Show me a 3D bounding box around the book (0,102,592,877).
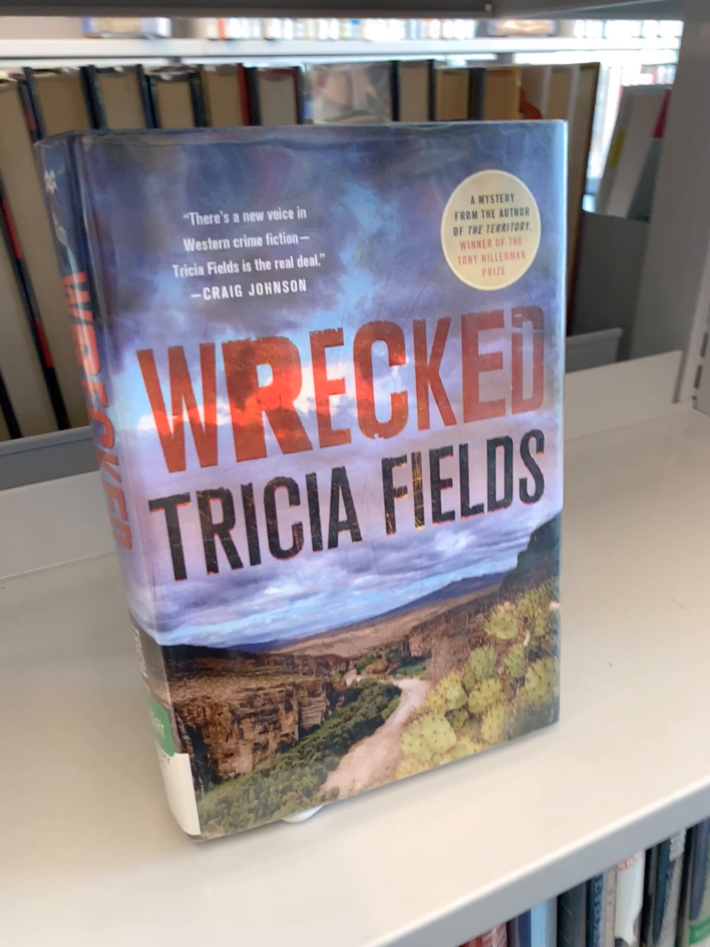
[{"bbox_3d":[-0.004,0.003,0.226,0.150,0.202,0.040,-11,19,-18],"label":"book"}]
